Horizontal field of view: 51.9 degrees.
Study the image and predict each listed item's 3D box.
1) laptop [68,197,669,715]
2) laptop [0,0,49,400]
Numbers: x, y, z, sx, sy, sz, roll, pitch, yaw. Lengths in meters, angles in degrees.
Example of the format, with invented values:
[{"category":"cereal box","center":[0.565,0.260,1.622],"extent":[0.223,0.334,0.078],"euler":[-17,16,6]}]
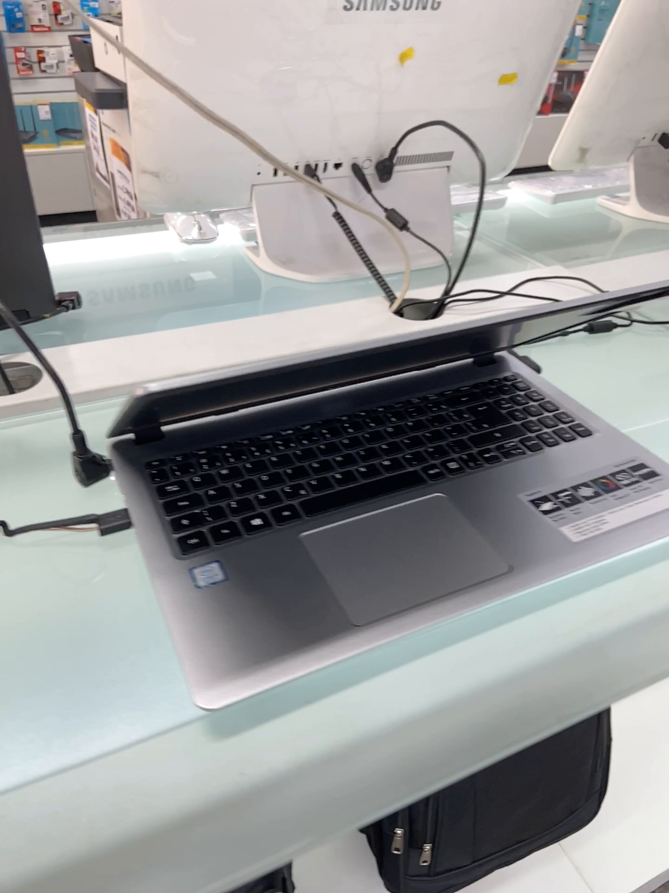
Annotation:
[{"category":"laptop","center":[0.050,-0.039,0.434],"extent":[0.361,0.138,0.237],"euler":[-14,38,-22]},{"category":"laptop","center":[-0.491,-0.252,0.620],"extent":[0.364,0.249,0.265],"euler":[-13,39,-23]}]
